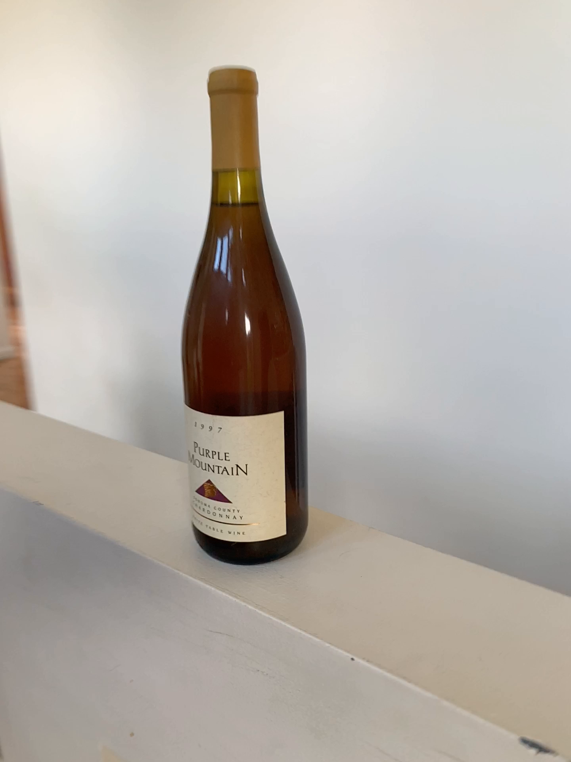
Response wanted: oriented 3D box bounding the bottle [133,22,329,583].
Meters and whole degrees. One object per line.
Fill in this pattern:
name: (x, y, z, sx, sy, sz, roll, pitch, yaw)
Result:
bottle: (-0.027, -0.039, 0.378, 0.080, 0.309, 0.080, -1, 15, 0)
